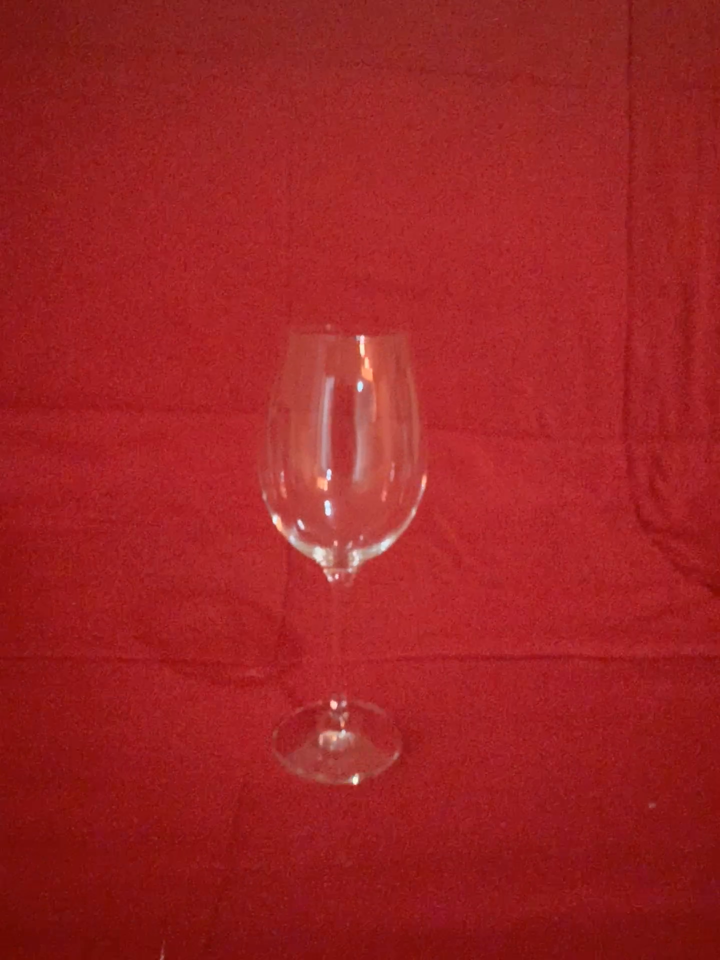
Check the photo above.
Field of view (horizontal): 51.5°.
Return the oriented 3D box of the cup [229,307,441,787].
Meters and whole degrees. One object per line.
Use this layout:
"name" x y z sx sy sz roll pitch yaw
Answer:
"cup" -0.013 0.037 0.409 0.094 0.246 0.083 1 19 0
